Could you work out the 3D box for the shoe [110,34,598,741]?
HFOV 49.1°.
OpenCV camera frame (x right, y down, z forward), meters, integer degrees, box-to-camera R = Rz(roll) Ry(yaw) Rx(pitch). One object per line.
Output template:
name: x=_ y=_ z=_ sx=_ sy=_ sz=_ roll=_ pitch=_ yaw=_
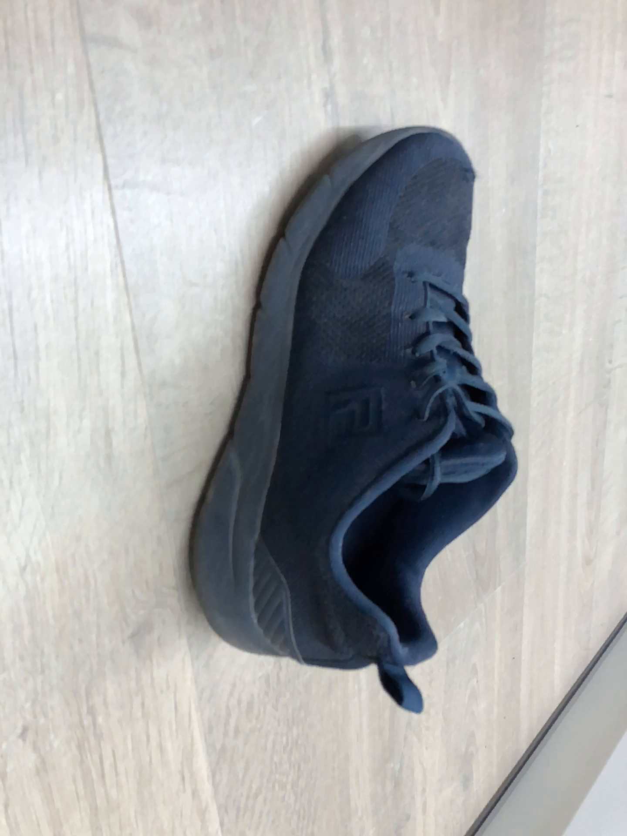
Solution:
shoe: x=0.027 y=-0.015 z=0.334 sx=0.101 sy=0.109 sz=0.290 roll=28 pitch=79 yaw=-49
